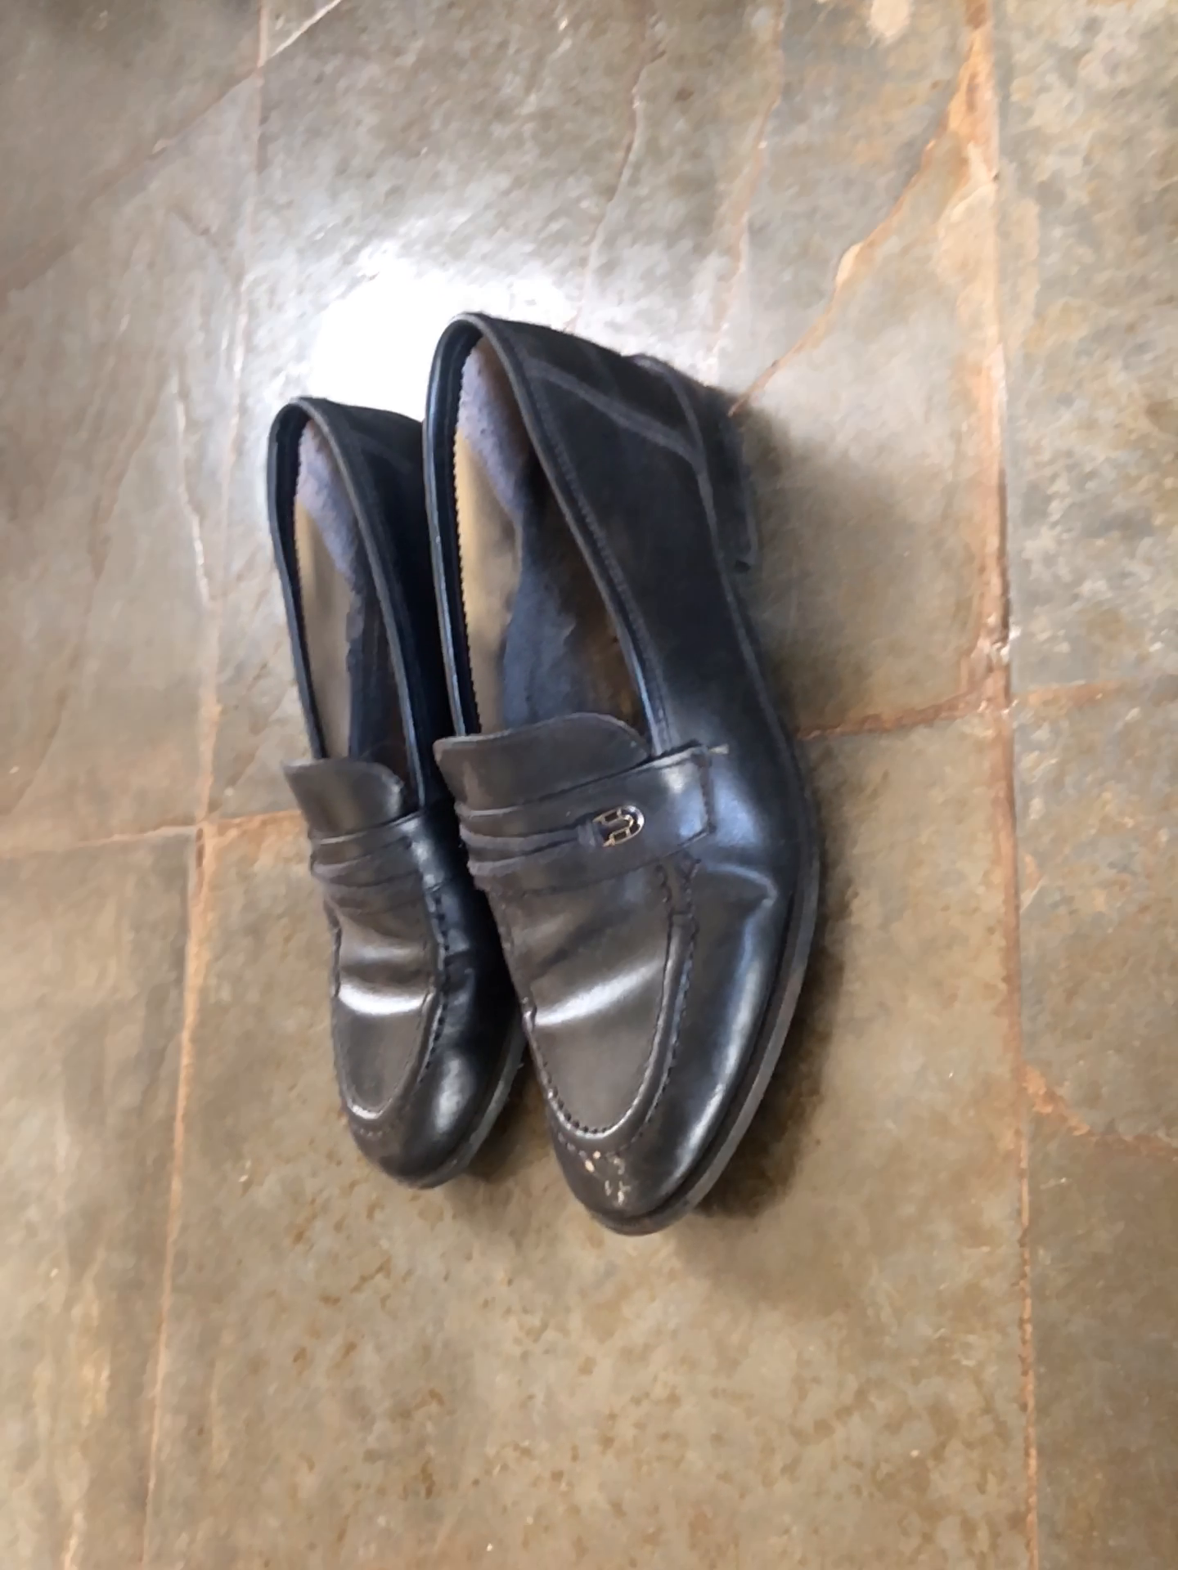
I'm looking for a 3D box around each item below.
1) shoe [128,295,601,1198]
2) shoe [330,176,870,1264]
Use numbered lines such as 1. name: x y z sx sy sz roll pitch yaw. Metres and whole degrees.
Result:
1. shoe: -0.071 -0.007 0.437 0.100 0.100 0.260 -7 76 43
2. shoe: 0.001 -0.012 0.370 0.100 0.100 0.260 -13 73 42
